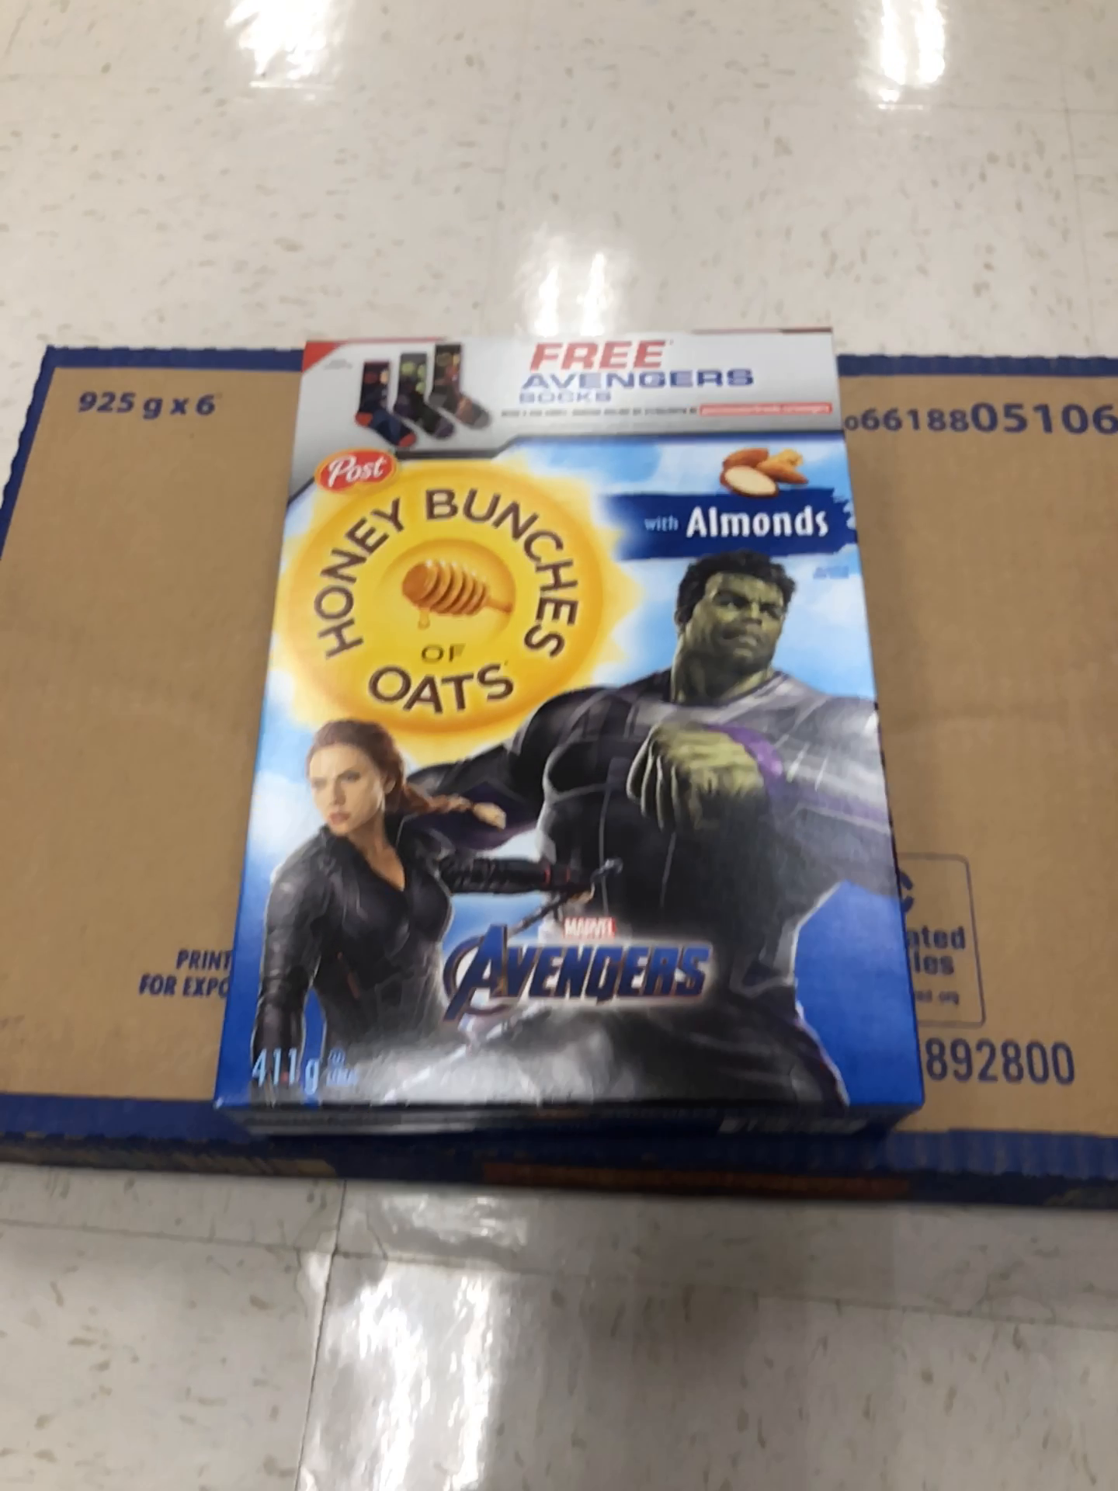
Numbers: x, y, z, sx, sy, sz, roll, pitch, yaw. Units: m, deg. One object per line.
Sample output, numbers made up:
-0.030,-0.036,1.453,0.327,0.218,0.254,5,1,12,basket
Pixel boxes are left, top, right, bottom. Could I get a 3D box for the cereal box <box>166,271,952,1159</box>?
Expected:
0.000,-0.020,0.409,0.200,0.070,0.291,-1,65,2,cereal box
